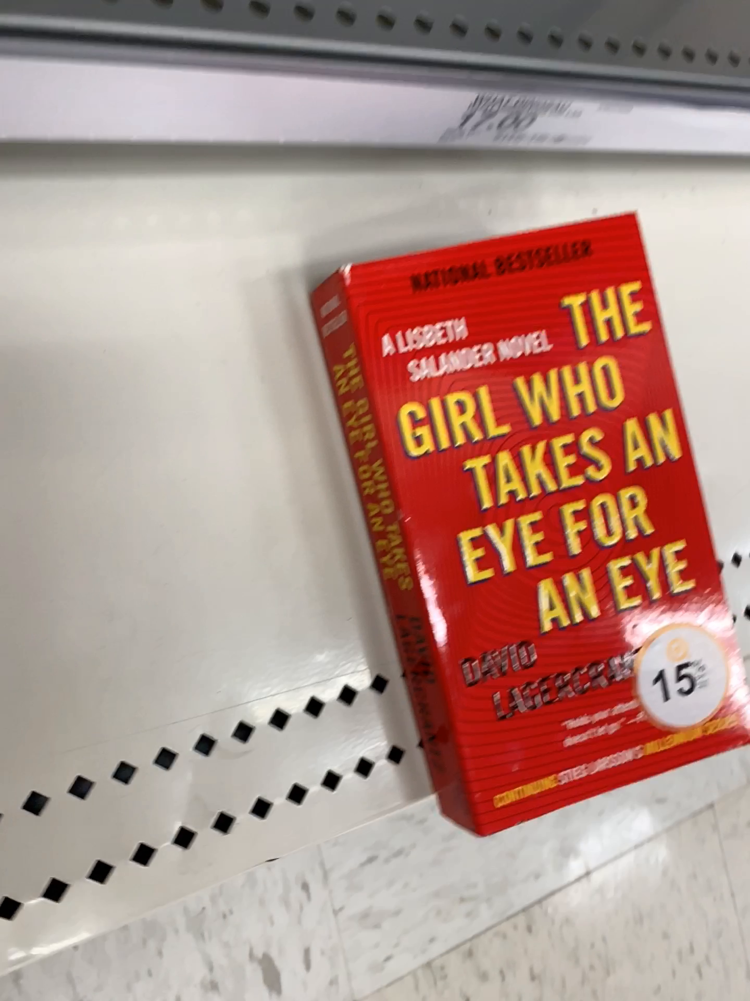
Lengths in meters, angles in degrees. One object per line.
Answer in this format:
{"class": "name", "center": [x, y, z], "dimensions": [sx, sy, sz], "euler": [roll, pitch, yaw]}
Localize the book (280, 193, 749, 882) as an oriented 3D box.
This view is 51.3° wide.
{"class": "book", "center": [0.052, 0.004, 0.273], "dimensions": [0.115, 0.046, 0.199], "euler": [-15, 92, -26]}
